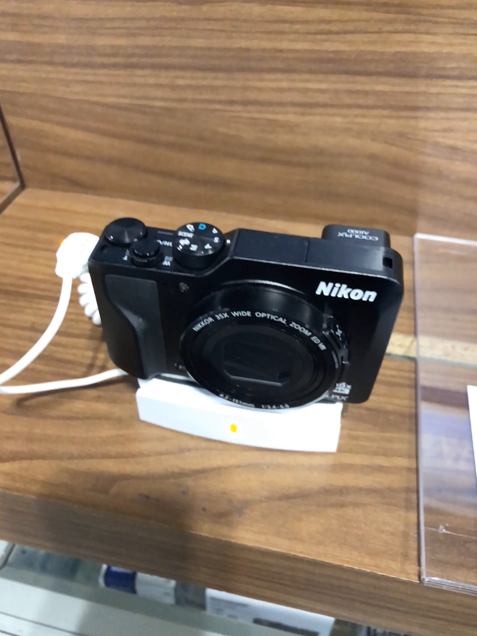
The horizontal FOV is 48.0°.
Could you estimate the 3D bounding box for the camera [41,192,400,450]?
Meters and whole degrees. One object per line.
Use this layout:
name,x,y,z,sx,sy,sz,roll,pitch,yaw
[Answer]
camera,-0.004,0.000,0.216,0.120,0.070,0.050,9,43,9
